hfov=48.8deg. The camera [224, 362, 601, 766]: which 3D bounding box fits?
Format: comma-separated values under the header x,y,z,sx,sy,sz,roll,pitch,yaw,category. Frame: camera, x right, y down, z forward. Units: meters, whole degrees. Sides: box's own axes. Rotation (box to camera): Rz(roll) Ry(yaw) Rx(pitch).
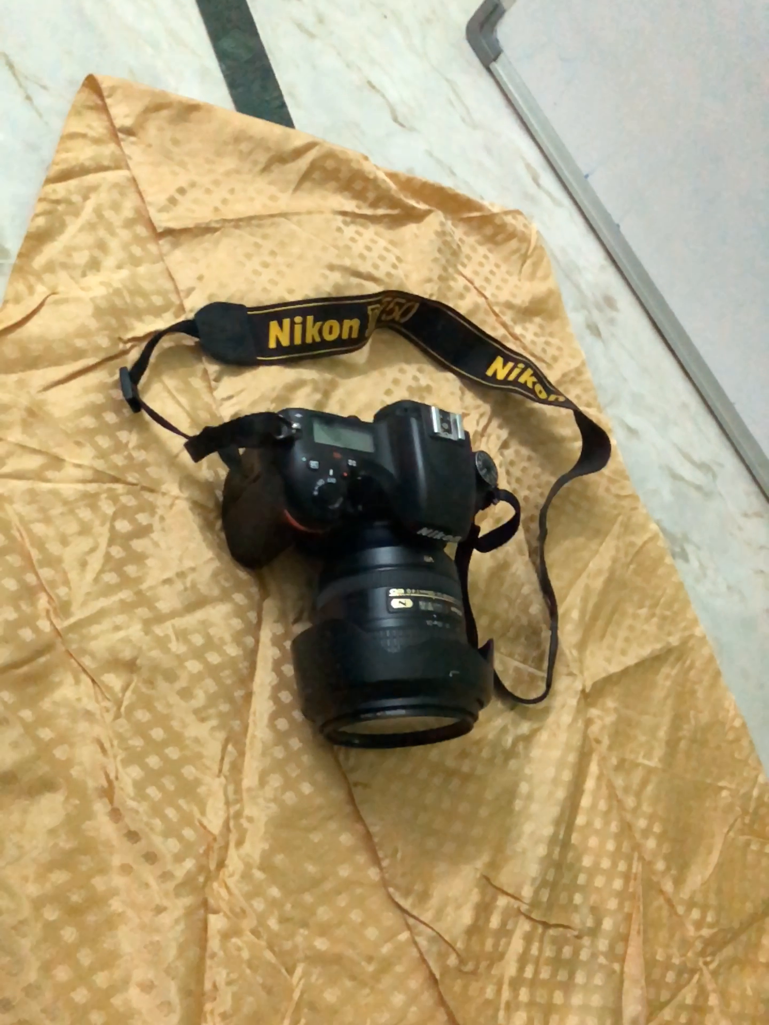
x,y,z,sx,sy,sz,roll,pitch,yaw,category
0.008,0.038,0.445,0.149,0.109,0.170,10,65,-32,camera
